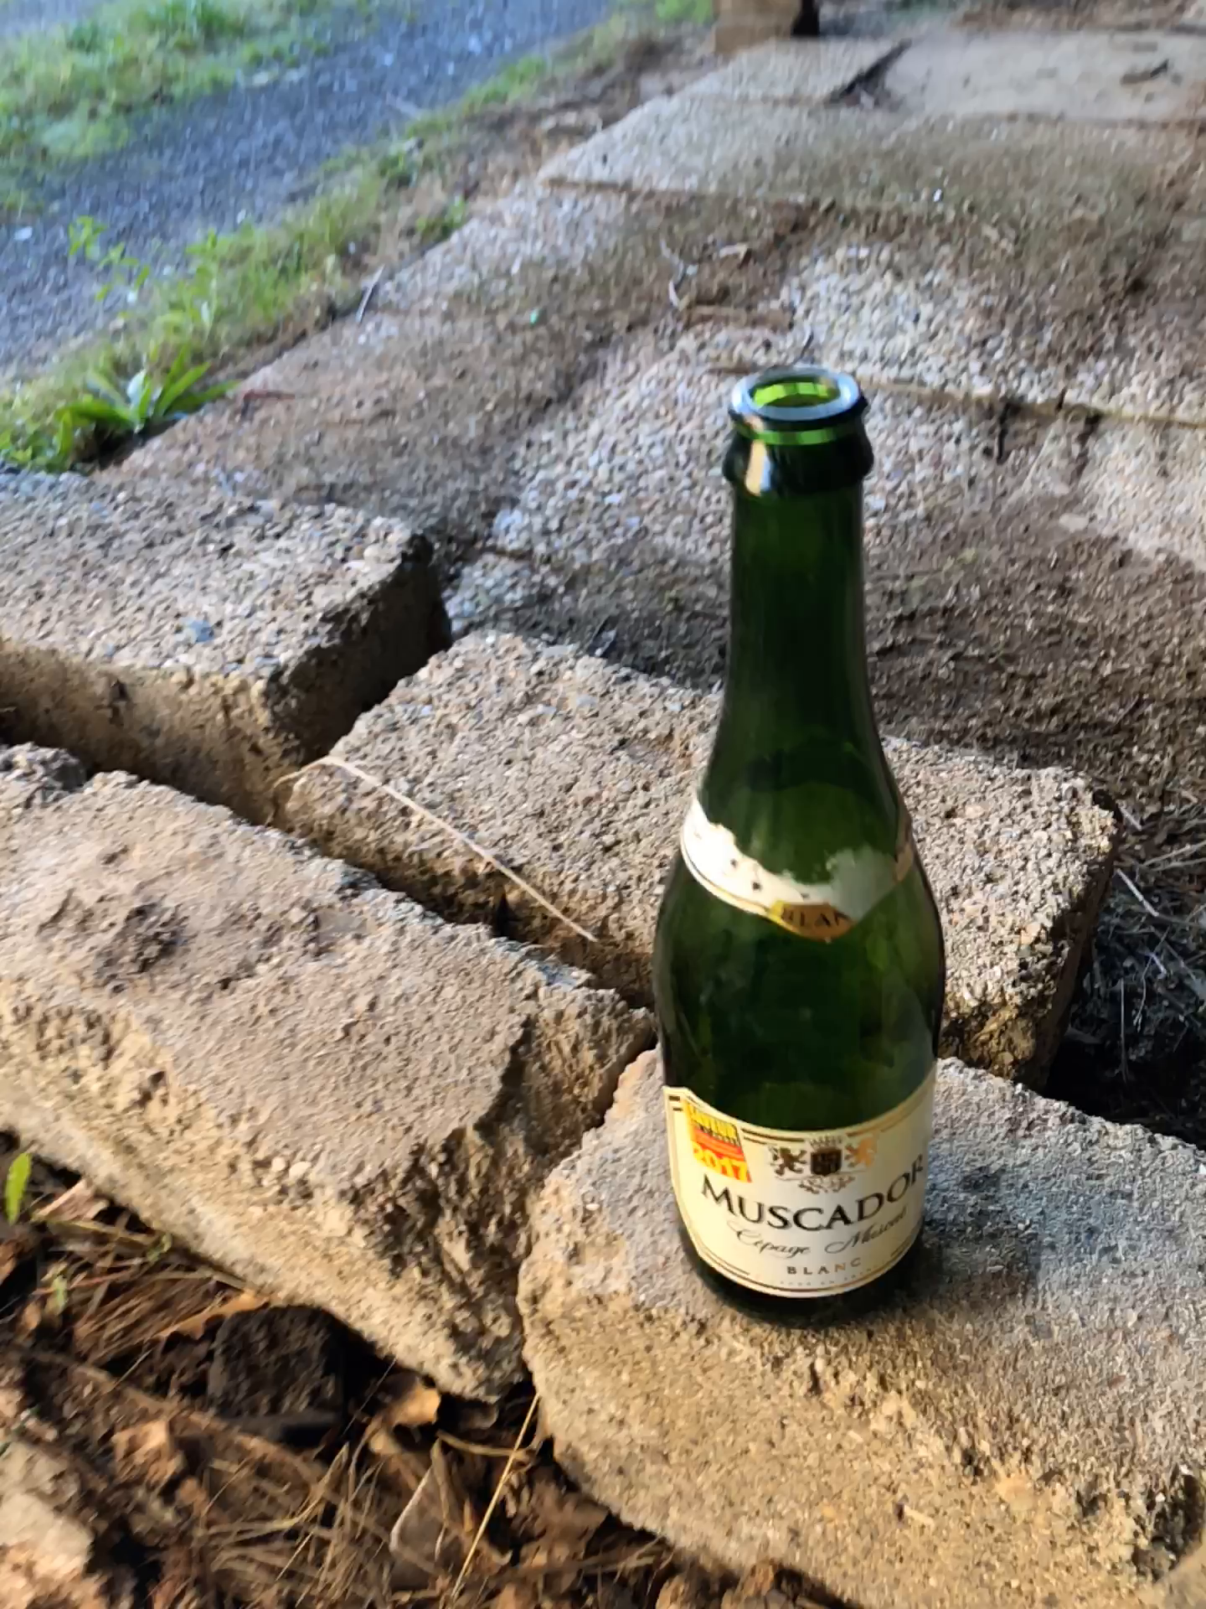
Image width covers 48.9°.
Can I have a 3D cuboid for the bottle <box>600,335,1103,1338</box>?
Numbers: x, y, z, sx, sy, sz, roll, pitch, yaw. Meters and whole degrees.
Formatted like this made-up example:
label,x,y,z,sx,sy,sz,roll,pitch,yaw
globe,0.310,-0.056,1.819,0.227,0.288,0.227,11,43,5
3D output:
label,x,y,z,sx,sy,sz,roll,pitch,yaw
bottle,0.059,0.030,0.368,0.090,0.288,0.091,-3,41,3
